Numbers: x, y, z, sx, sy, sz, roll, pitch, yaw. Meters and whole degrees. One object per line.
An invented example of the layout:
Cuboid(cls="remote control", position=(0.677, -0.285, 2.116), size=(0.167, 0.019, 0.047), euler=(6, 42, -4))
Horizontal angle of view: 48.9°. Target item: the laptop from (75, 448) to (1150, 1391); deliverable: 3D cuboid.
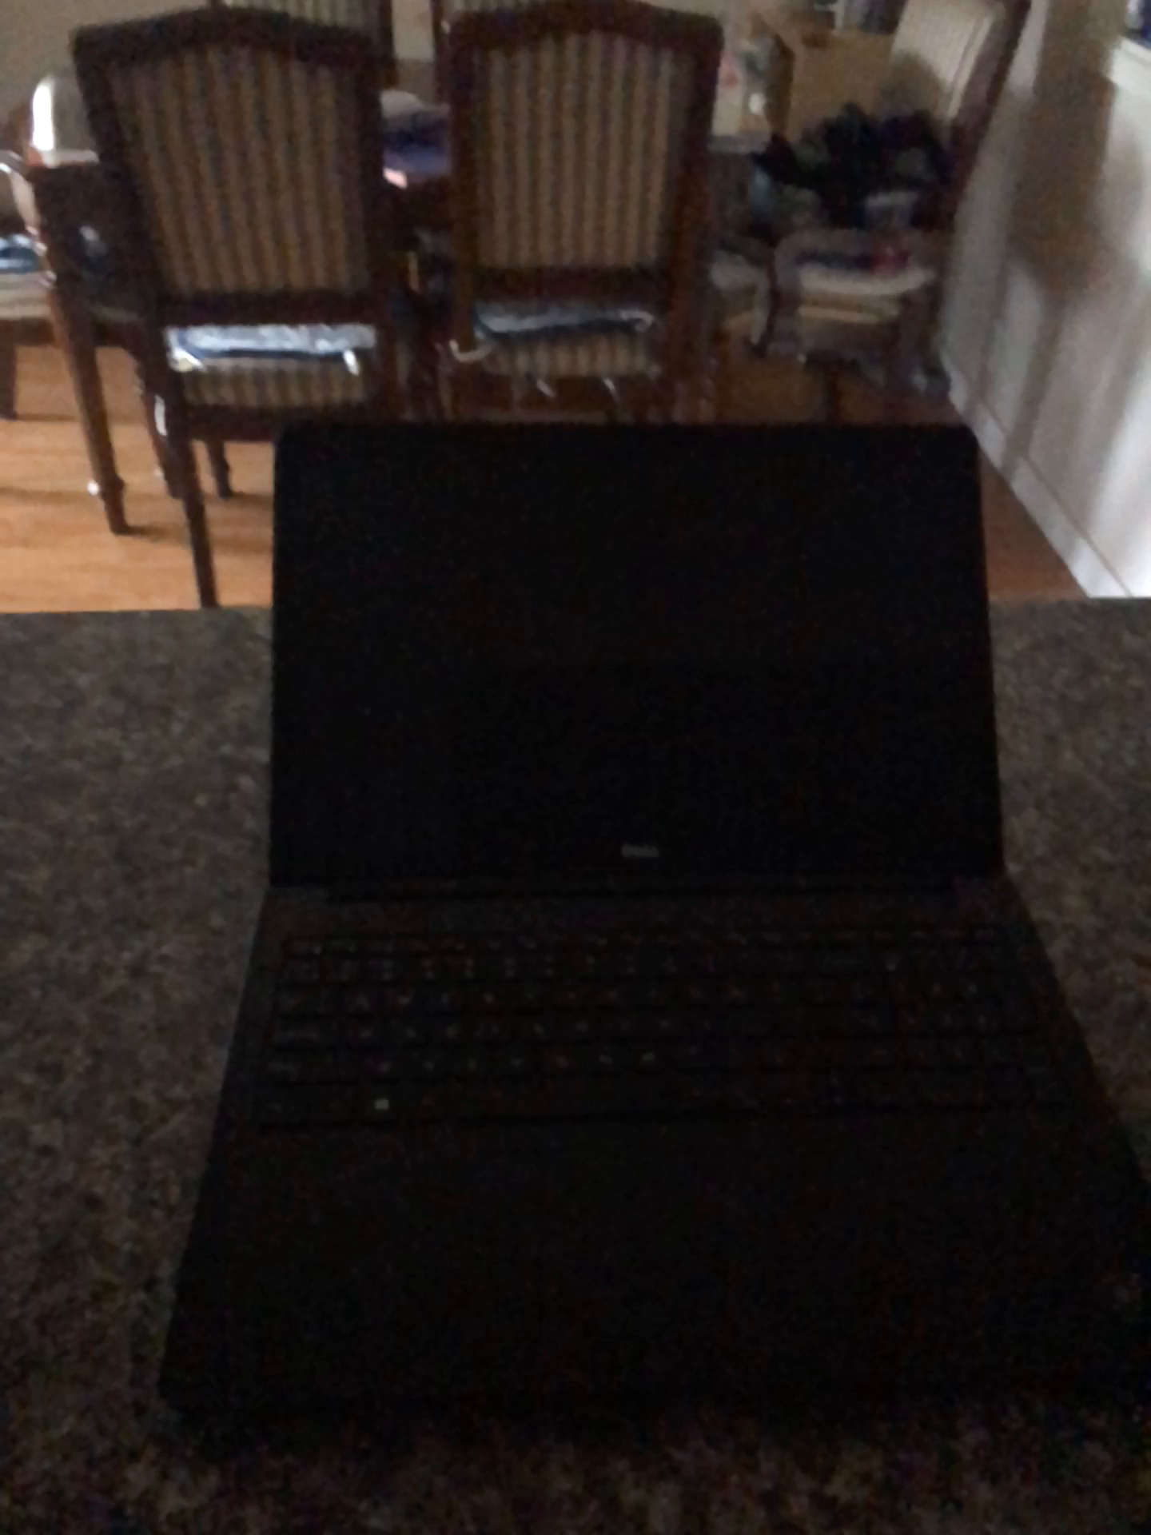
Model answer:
Cuboid(cls="laptop", position=(0.038, 0.021, 0.557), size=(0.361, 0.158, 0.416), euler=(-1, 39, -3))
